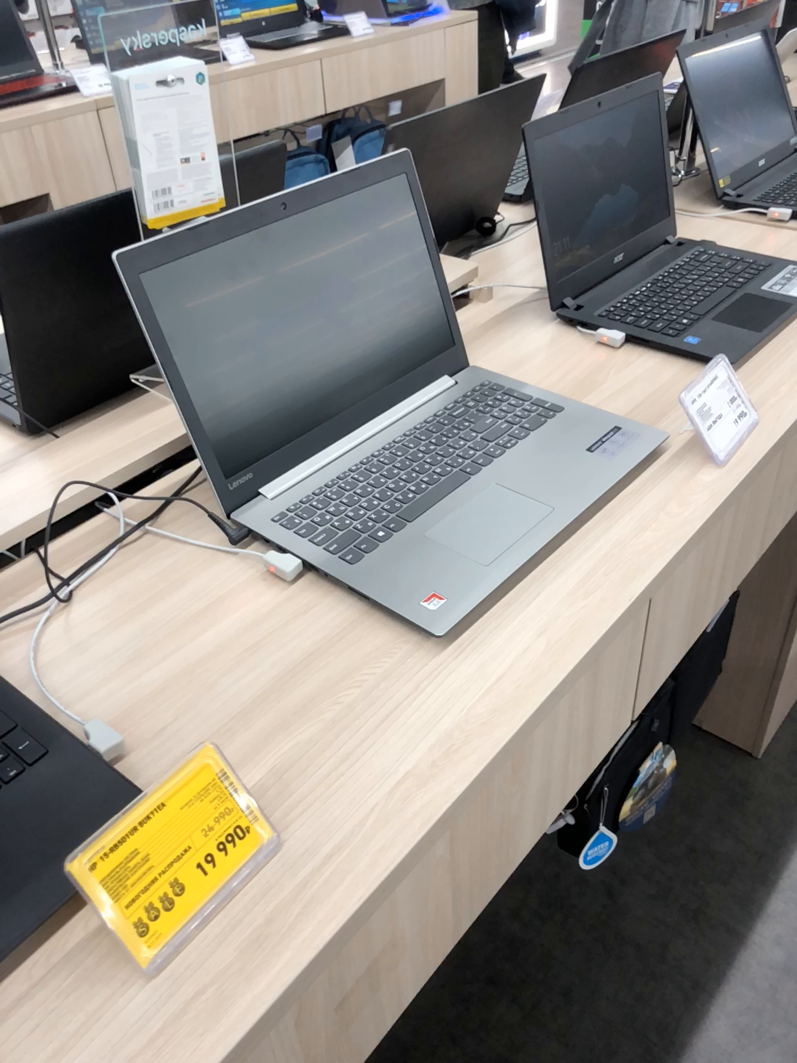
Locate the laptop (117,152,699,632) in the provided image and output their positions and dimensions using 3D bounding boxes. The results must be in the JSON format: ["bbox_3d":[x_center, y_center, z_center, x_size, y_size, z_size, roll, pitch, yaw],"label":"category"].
[{"bbox_3d":[0.022,-0.169,0.830,0.344,0.235,0.381,25,45,33],"label":"laptop"}]
